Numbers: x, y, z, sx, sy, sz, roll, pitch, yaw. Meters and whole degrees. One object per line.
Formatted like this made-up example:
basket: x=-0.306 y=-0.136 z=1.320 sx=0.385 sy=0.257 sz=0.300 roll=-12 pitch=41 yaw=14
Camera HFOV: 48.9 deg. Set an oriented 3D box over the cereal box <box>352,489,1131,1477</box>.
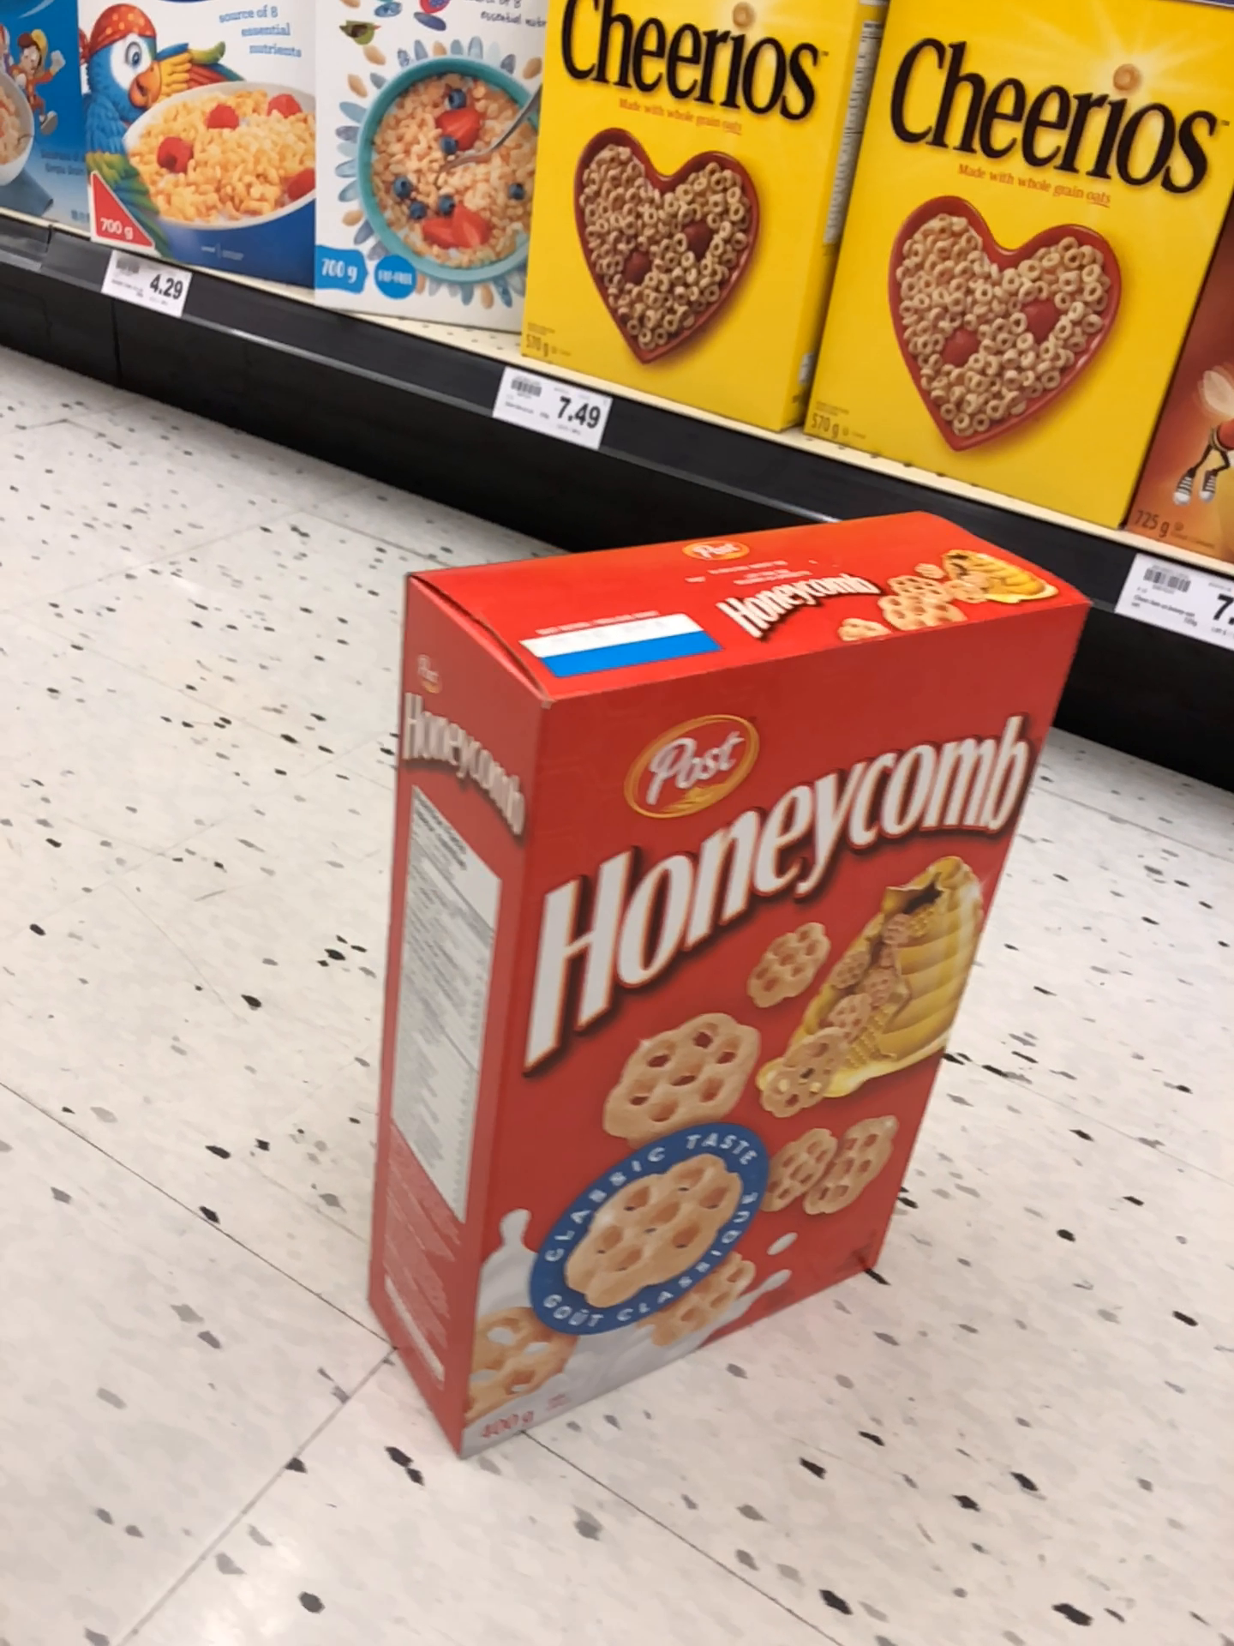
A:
cereal box: x=0.025 y=0.054 z=0.452 sx=0.200 sy=0.298 sz=0.080 roll=-12 pitch=38 yaw=-30
